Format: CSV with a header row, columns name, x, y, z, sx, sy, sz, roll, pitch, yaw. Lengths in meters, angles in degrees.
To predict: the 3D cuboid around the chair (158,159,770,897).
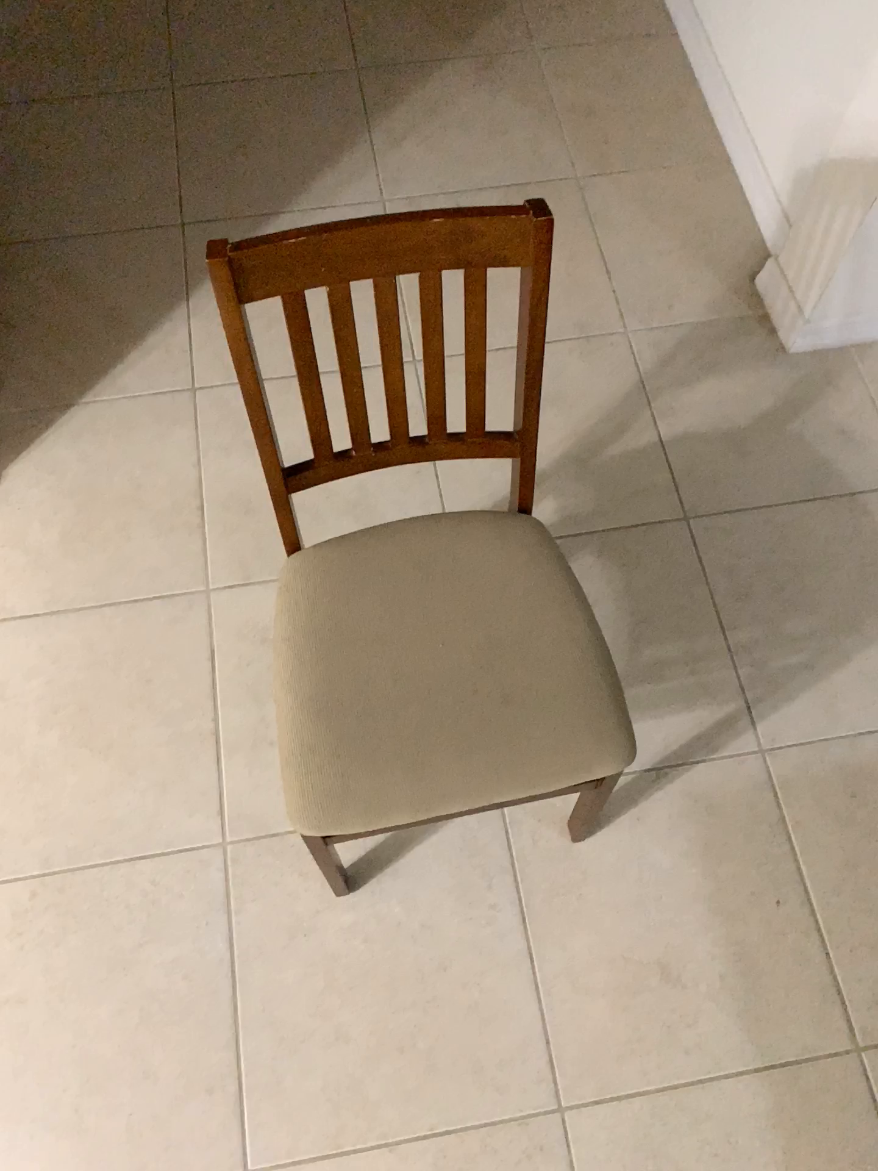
name,x,y,z,sx,sy,sz,roll,pitch,yaw
chair,-0.016,0.029,1.214,0.450,0.885,0.593,-9,66,-5
